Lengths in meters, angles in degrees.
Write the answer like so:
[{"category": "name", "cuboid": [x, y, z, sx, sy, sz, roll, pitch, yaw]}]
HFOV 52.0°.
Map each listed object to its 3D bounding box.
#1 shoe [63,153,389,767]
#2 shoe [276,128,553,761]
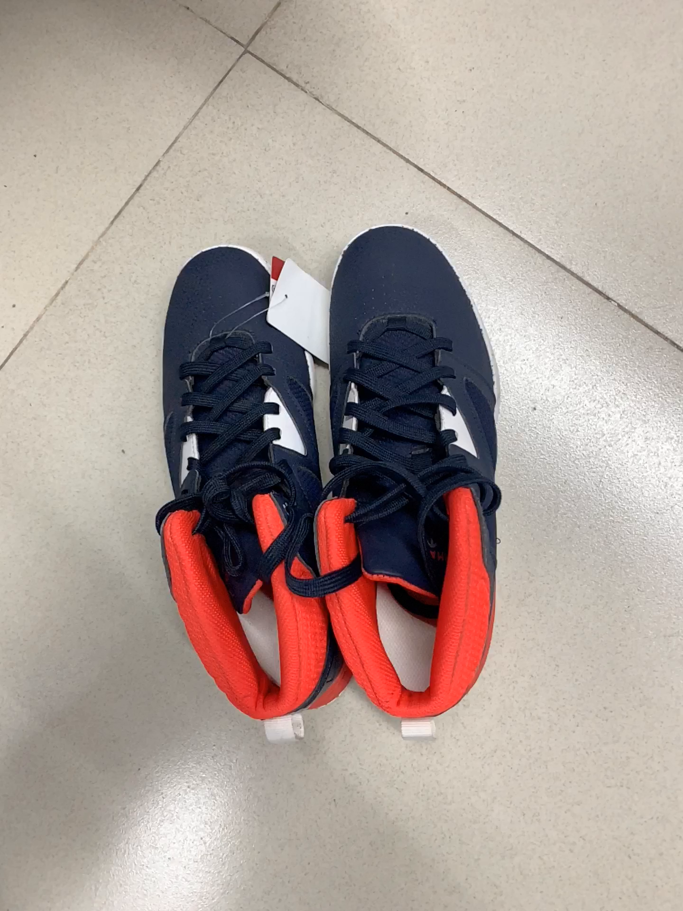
[{"category": "shoe", "cuboid": [-0.060, 0.003, 0.396, 0.110, 0.100, 0.290, -12, 83, 9]}, {"category": "shoe", "cuboid": [0.040, -0.002, 0.386, 0.110, 0.120, 0.290, -4, 84, 10]}]
